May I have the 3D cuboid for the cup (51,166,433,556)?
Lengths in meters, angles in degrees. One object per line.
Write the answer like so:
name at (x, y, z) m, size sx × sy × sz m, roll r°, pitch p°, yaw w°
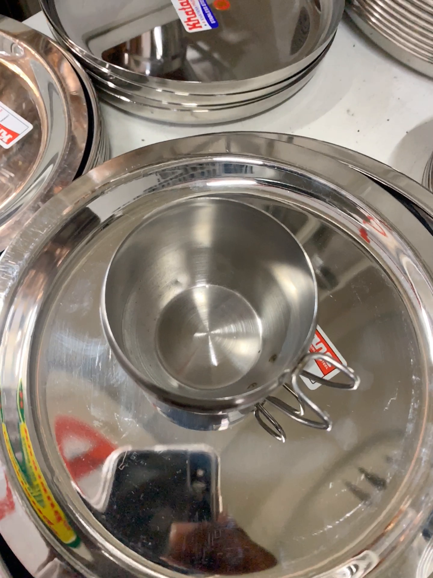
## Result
cup at (0.010, 0.019, 0.146) m, size 0.090 × 0.040 × 0.070 m, roll 39°, pitch 72°, yaw 14°
